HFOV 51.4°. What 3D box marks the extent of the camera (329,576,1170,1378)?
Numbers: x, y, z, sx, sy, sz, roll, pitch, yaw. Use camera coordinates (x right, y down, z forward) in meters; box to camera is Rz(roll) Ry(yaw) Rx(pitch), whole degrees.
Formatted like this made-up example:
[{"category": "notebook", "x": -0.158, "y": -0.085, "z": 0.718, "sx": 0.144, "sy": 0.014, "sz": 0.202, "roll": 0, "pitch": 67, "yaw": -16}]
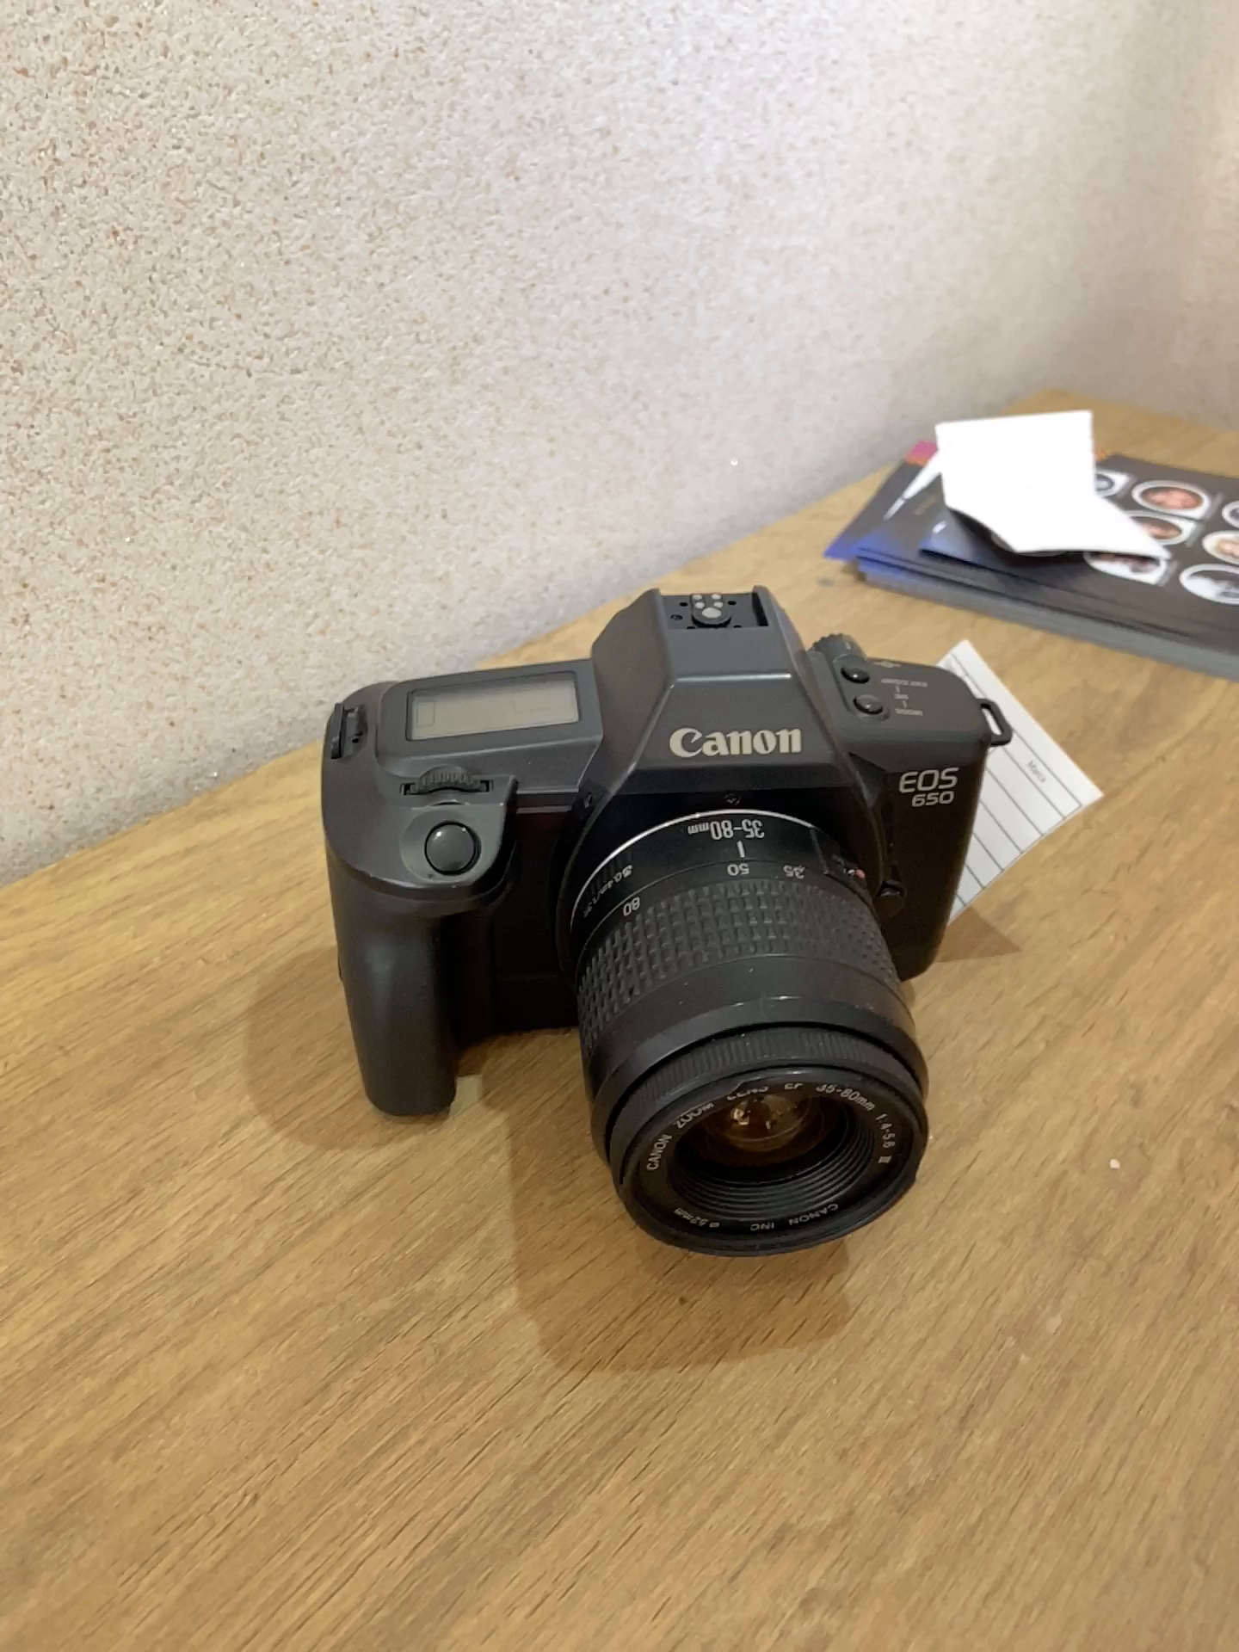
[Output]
[{"category": "camera", "x": 0.014, "y": 0.024, "z": 0.295, "sx": 0.140, "sy": 0.099, "sz": 0.141, "roll": -5, "pitch": 37, "yaw": -6}]
